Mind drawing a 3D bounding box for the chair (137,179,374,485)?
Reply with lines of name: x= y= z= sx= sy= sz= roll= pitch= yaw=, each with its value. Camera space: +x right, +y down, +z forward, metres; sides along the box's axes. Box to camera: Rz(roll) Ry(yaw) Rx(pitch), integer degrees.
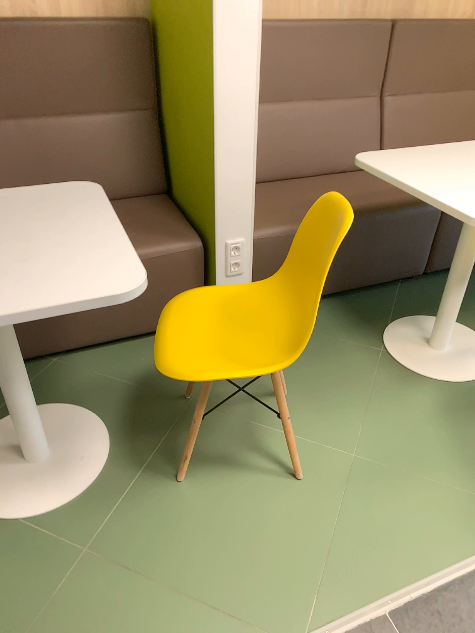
chair: x=0.019 y=0.059 z=1.450 sx=0.520 sy=0.815 sz=0.412 roll=-1 pitch=34 yaw=-4
